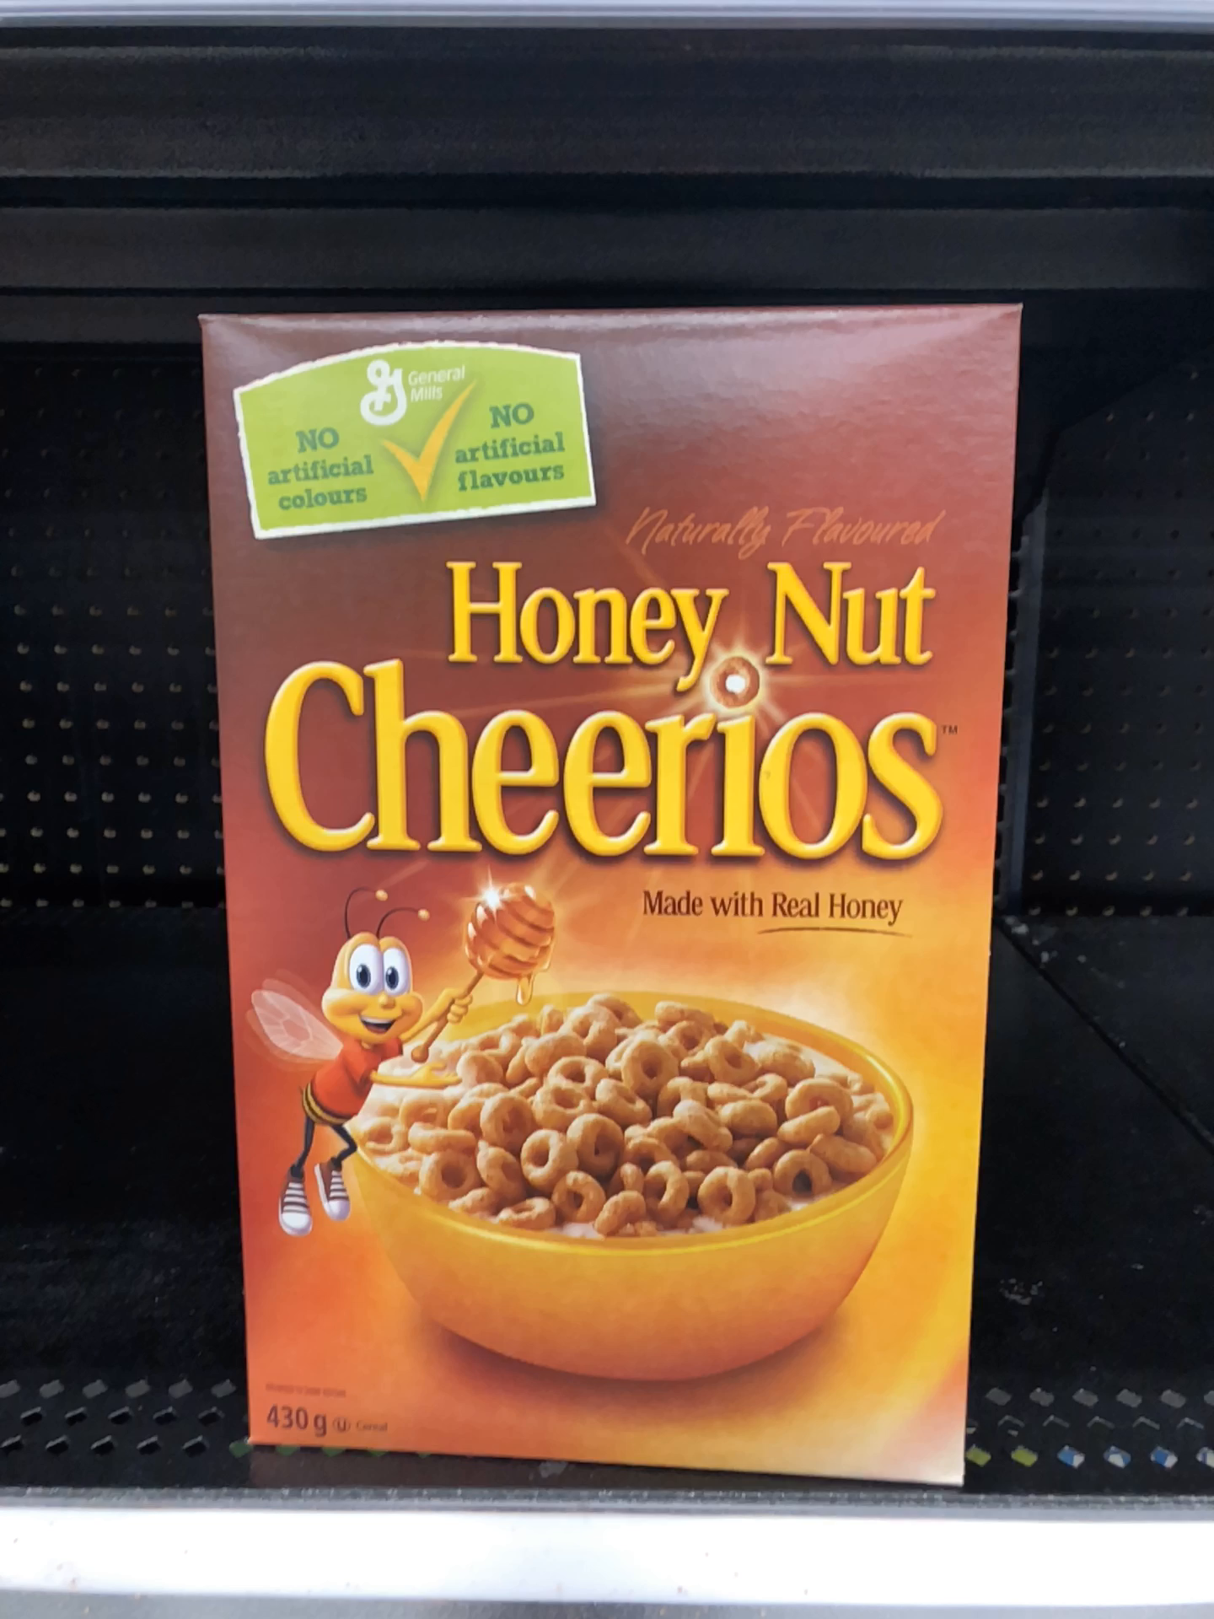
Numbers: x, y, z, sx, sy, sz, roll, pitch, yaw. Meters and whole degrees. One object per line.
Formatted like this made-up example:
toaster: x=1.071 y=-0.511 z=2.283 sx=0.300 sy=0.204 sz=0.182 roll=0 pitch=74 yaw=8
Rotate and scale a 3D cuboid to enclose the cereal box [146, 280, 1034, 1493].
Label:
cereal box: x=-0.004 y=0.022 z=0.363 sx=0.200 sy=0.299 sz=0.070 roll=1 pitch=11 yaw=5
